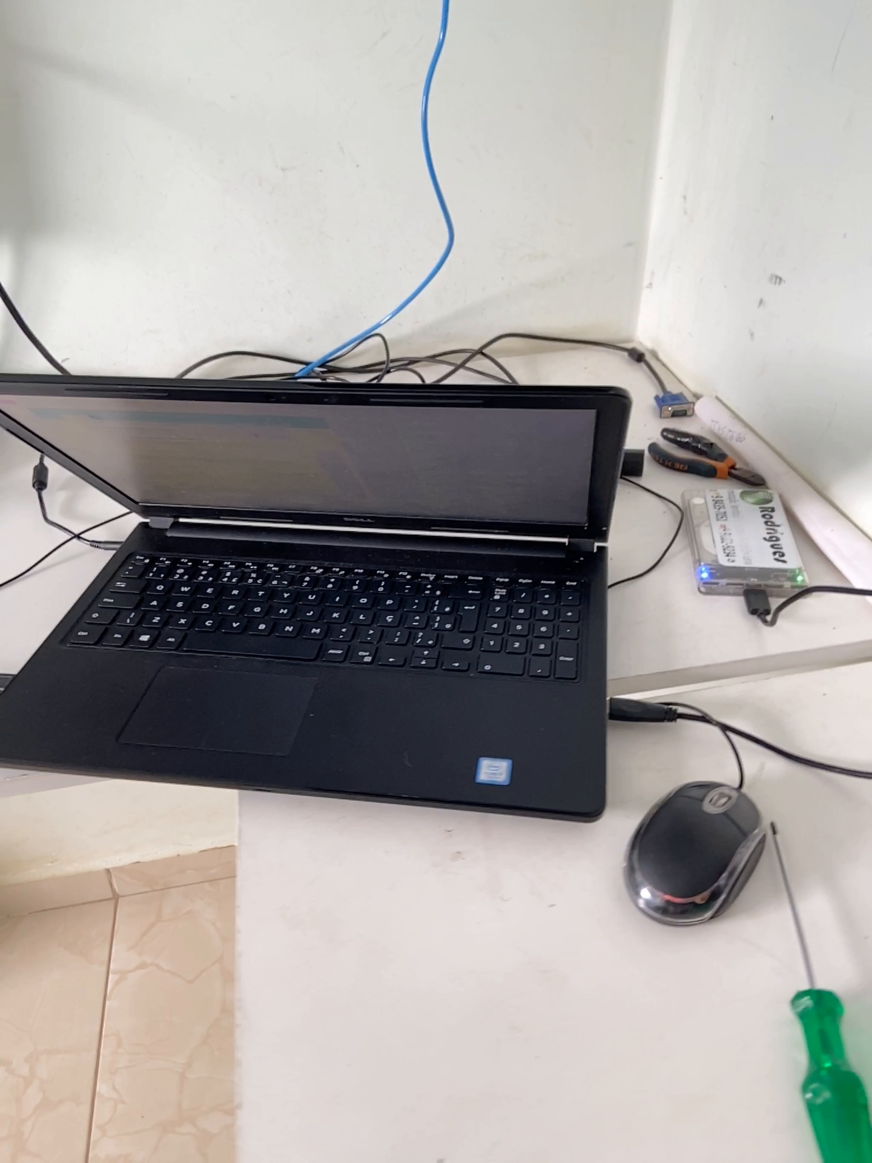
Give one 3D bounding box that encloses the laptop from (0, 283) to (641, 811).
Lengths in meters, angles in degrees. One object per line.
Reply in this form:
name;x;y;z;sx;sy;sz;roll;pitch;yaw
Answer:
laptop;-0.077;-0.042;0.548;0.371;0.192;0.257;4;36;7
